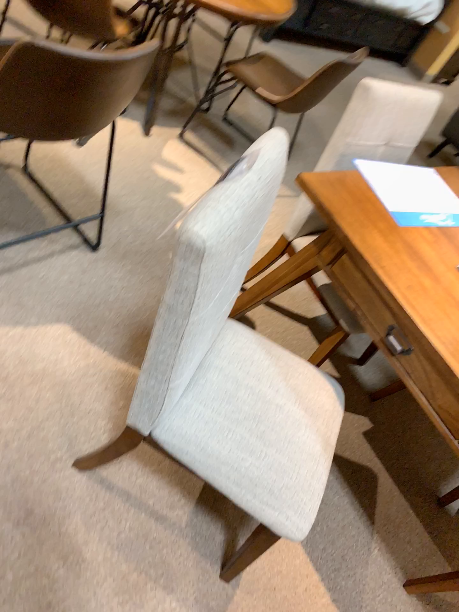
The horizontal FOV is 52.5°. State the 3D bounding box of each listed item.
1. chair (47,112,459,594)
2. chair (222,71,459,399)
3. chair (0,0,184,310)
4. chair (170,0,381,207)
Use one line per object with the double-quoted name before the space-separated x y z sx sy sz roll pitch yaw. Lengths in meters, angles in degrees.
"chair" 0.055 0.190 1.098 0.627 0.912 0.486 35 45 -1
"chair" 0.499 -0.211 1.677 0.516 0.912 0.598 -15 62 -38
"chair" -0.626 -0.516 1.370 0.567 0.793 0.496 48 46 10
"chair" 0.204 -1.040 2.301 0.597 0.743 0.527 40 45 5
